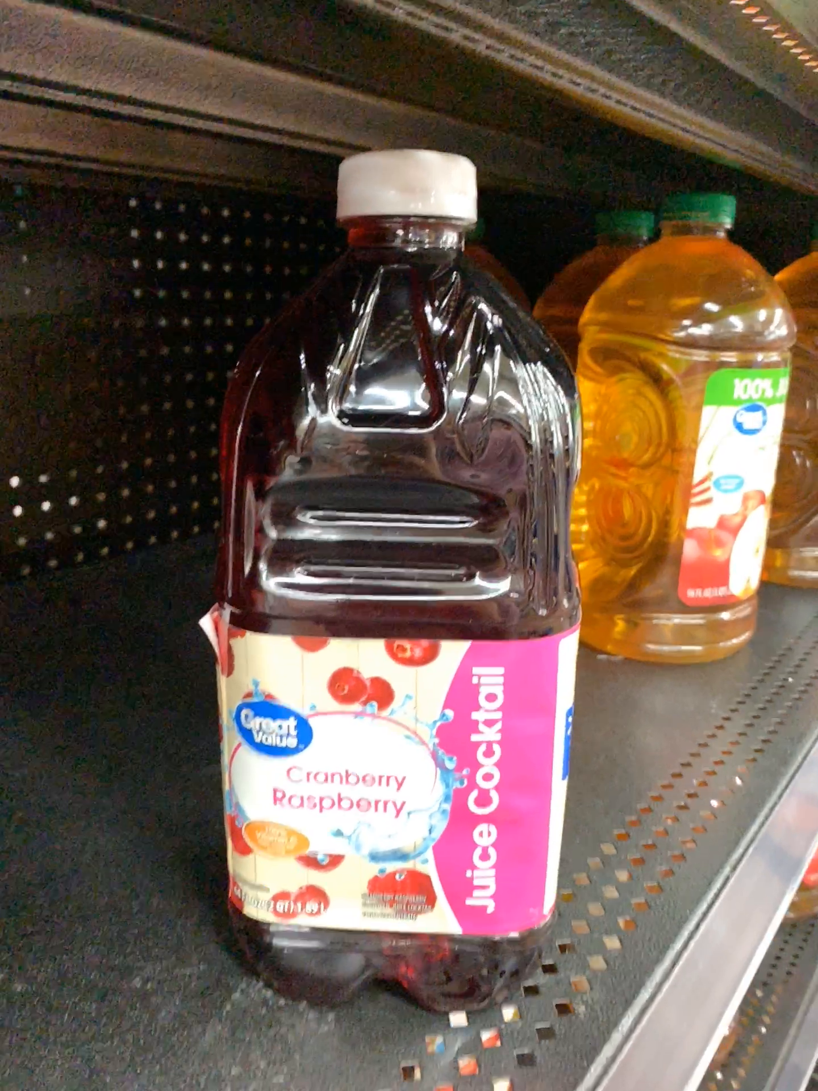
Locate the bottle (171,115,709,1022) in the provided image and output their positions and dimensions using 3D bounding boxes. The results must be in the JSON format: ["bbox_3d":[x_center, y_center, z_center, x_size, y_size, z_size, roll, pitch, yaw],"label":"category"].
[{"bbox_3d":[0.003,0.011,0.284,0.125,0.259,0.100,3,17,1],"label":"bottle"}]
